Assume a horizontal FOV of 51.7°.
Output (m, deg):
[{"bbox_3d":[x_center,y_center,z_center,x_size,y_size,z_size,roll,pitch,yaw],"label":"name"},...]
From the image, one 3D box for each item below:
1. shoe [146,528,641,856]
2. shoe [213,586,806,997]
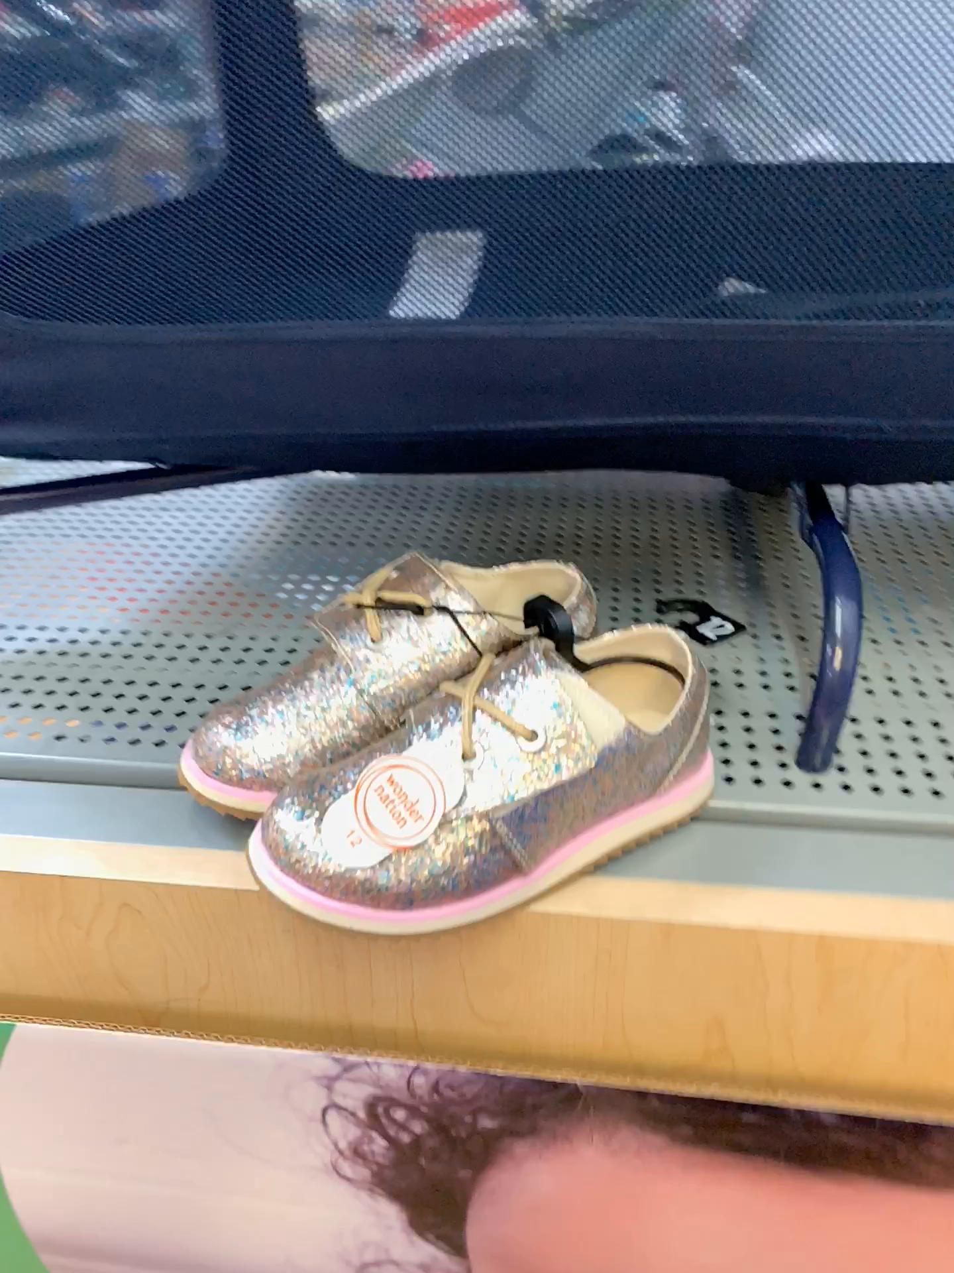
[{"bbox_3d":[-0.036,0.017,0.445,0.199,0.070,0.084,-13,33,-18],"label":"shoe"},{"bbox_3d":[0.014,0.049,0.383,0.205,0.060,0.086,-16,34,-21],"label":"shoe"}]
